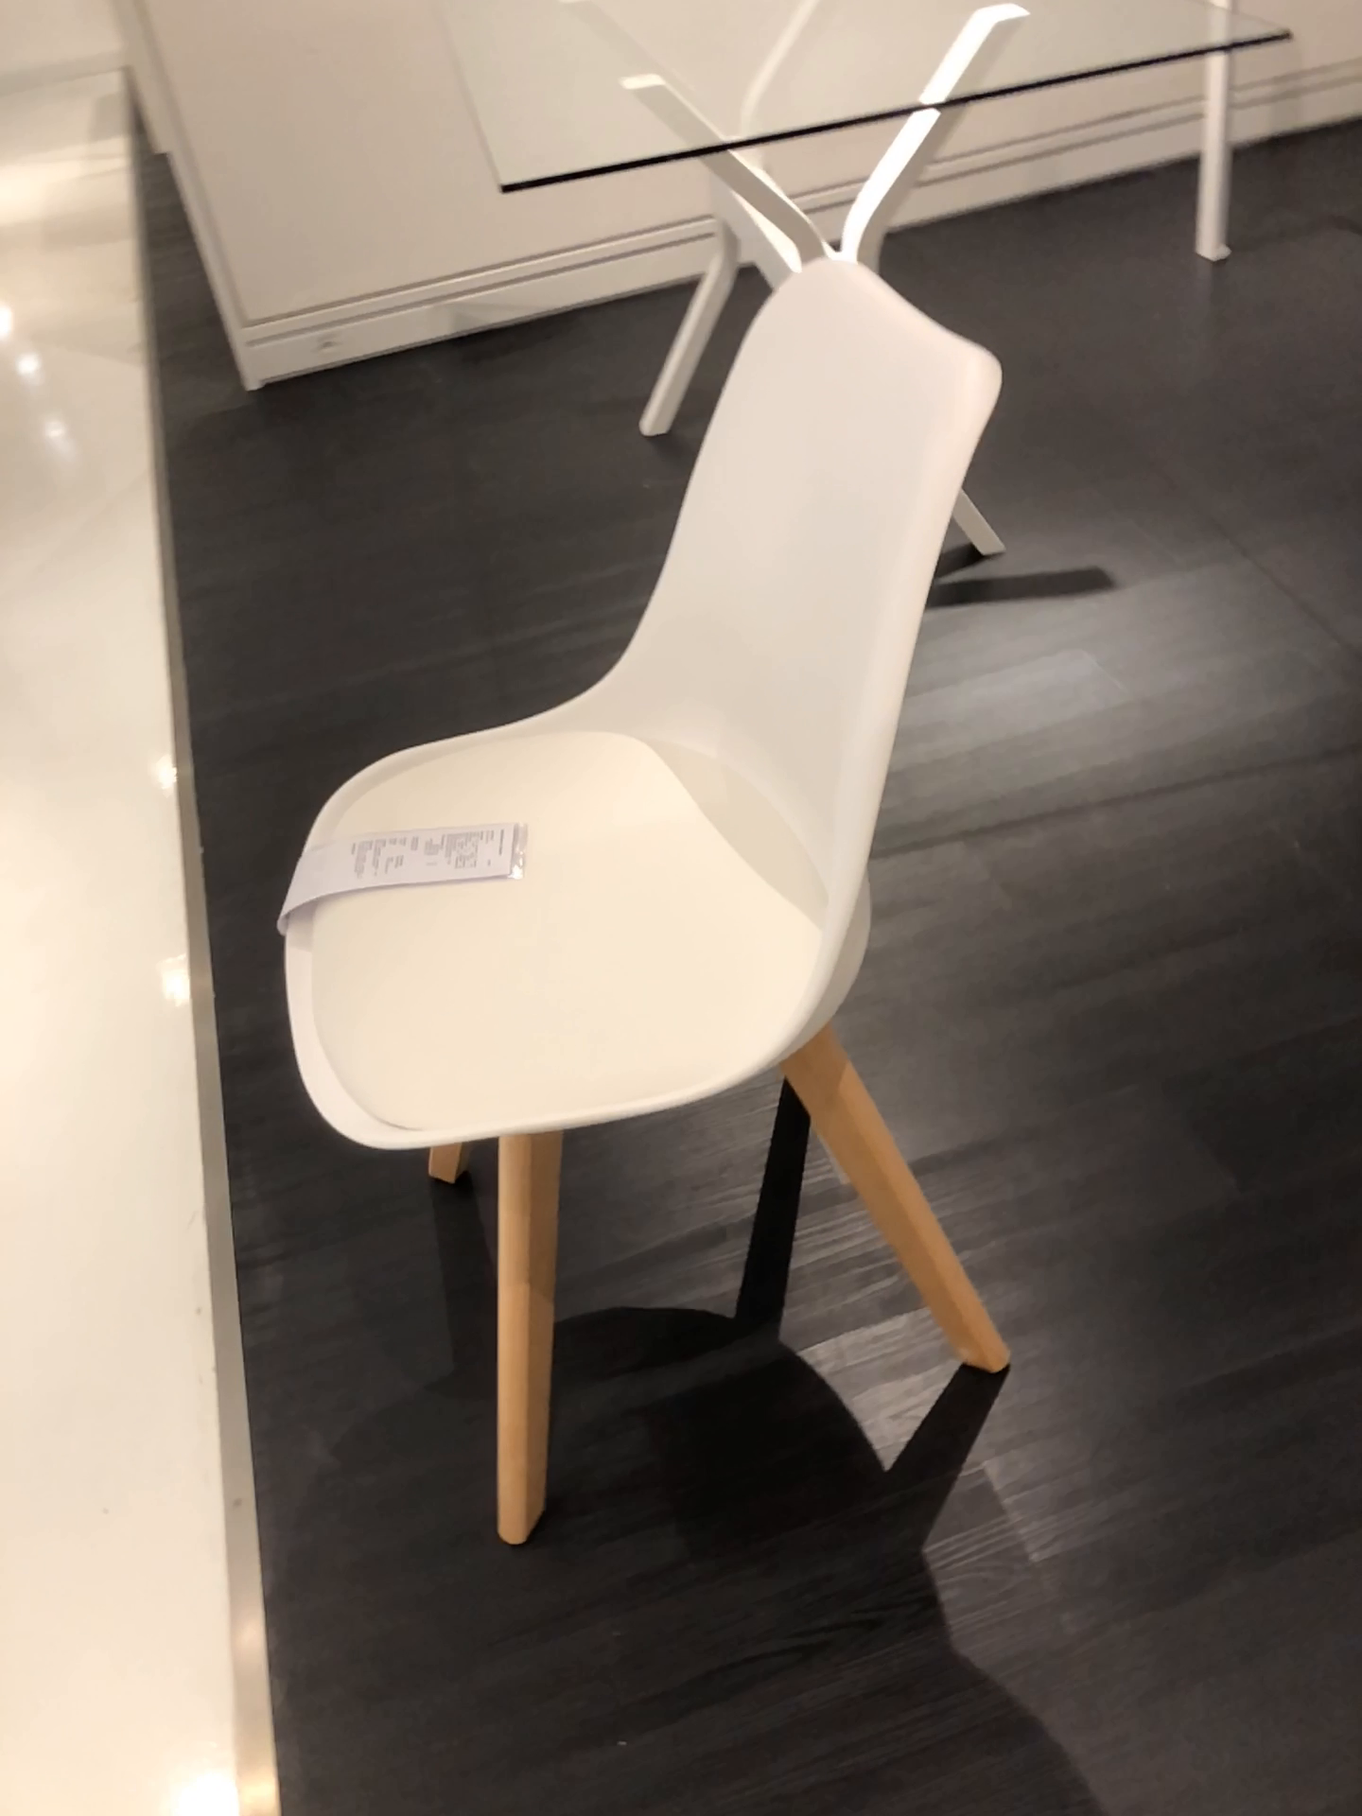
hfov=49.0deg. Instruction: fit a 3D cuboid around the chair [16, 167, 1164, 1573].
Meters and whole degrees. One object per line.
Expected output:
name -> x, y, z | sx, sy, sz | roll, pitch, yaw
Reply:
chair -> -0.036, -0.021, 1.103 | 0.530, 0.784, 0.504 | -15, 38, -6
